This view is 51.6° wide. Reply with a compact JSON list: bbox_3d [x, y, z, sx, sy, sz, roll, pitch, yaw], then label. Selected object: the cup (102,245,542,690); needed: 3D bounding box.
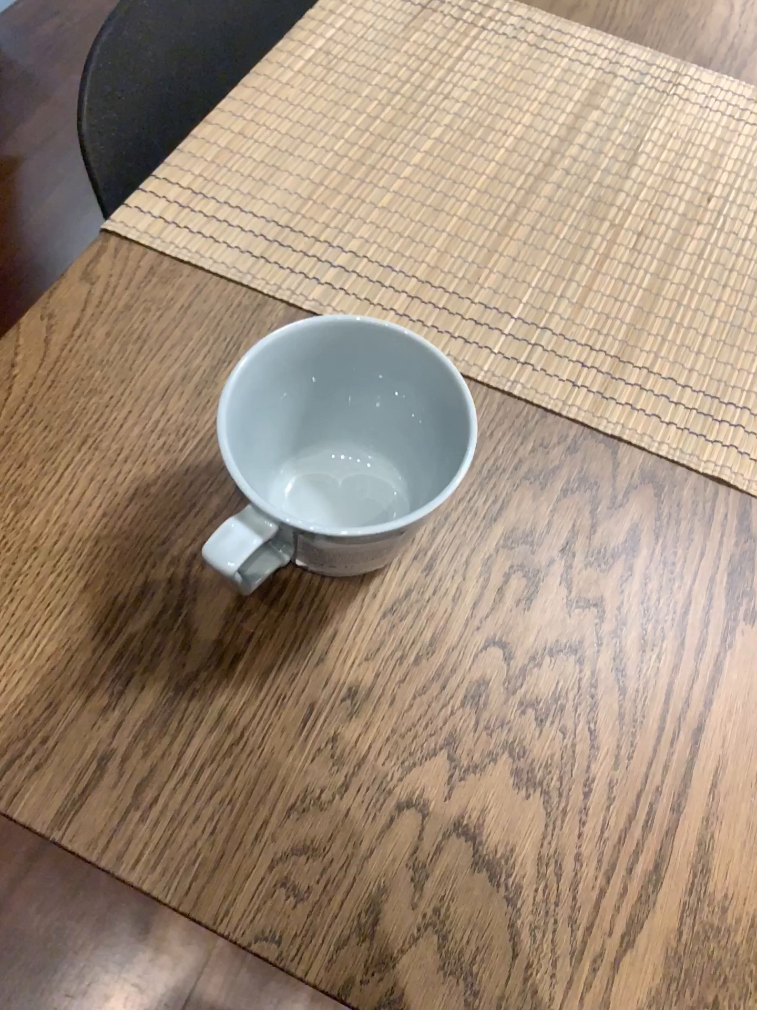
[{"bbox_3d":[-0.023,-0.017,0.358,0.110,0.100,0.140,40,65,15],"label":"cup"}]
